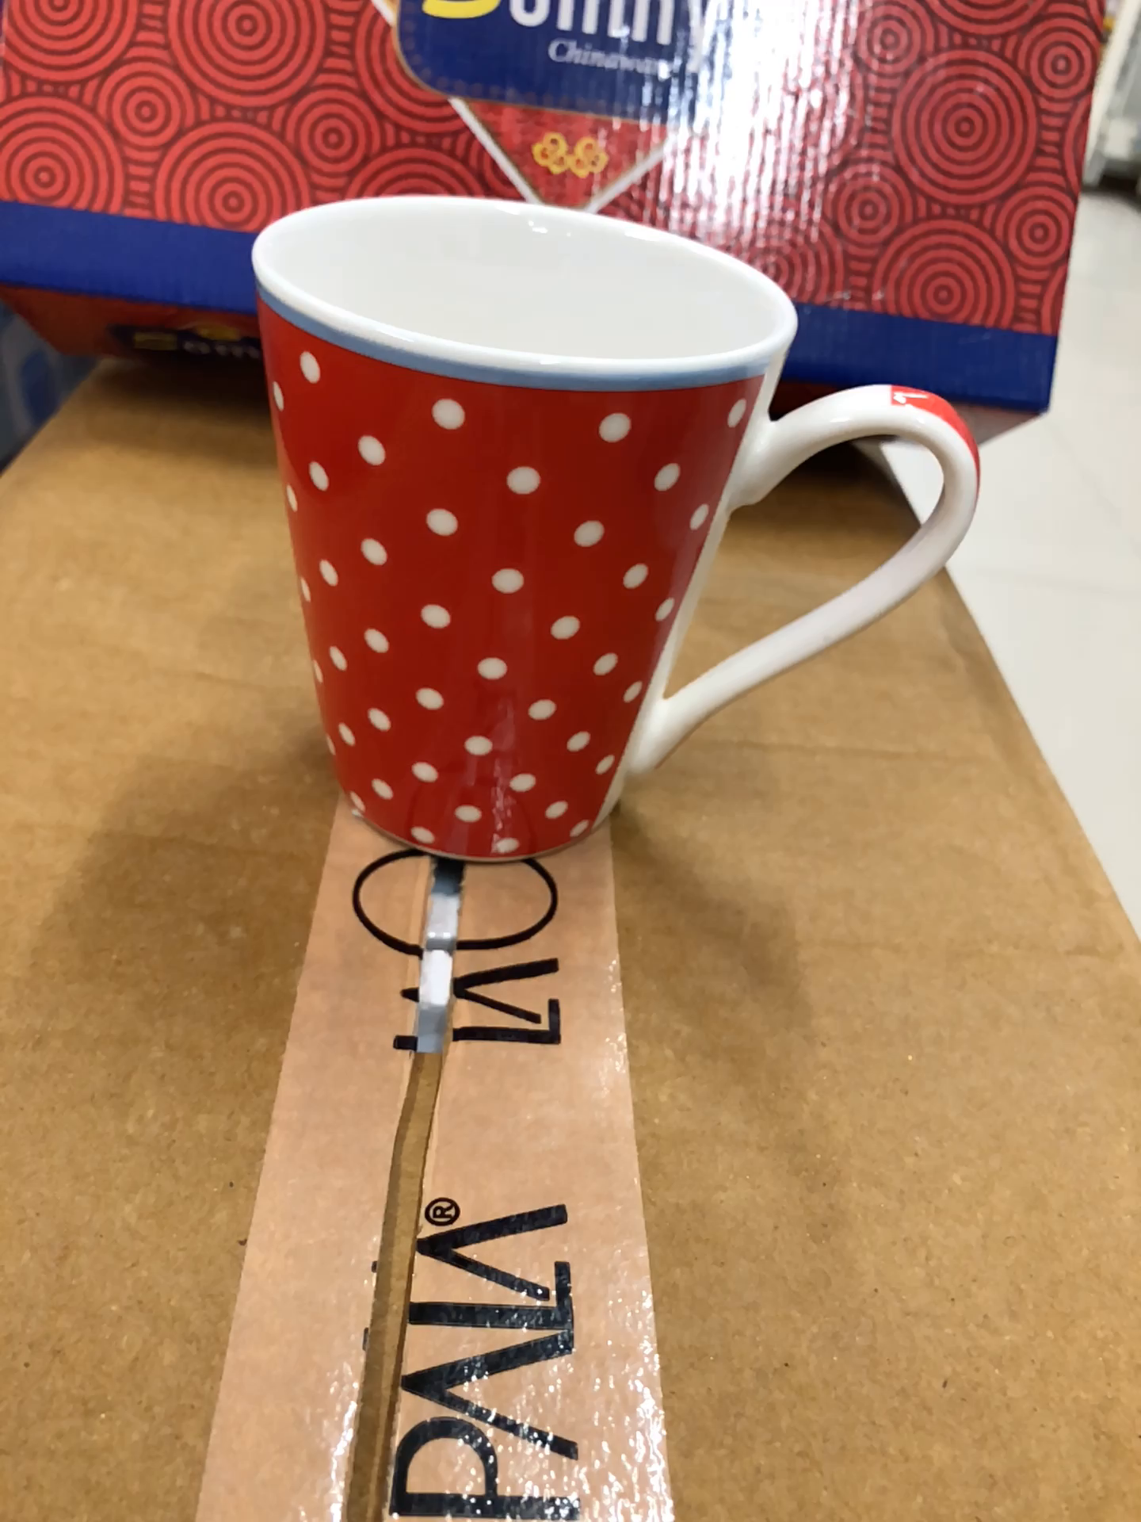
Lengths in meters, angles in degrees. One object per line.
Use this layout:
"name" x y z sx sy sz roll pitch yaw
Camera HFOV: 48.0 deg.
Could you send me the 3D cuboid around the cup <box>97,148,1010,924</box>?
"cup" -0.003 -0.042 0.224 0.120 0.089 0.081 10 35 2
